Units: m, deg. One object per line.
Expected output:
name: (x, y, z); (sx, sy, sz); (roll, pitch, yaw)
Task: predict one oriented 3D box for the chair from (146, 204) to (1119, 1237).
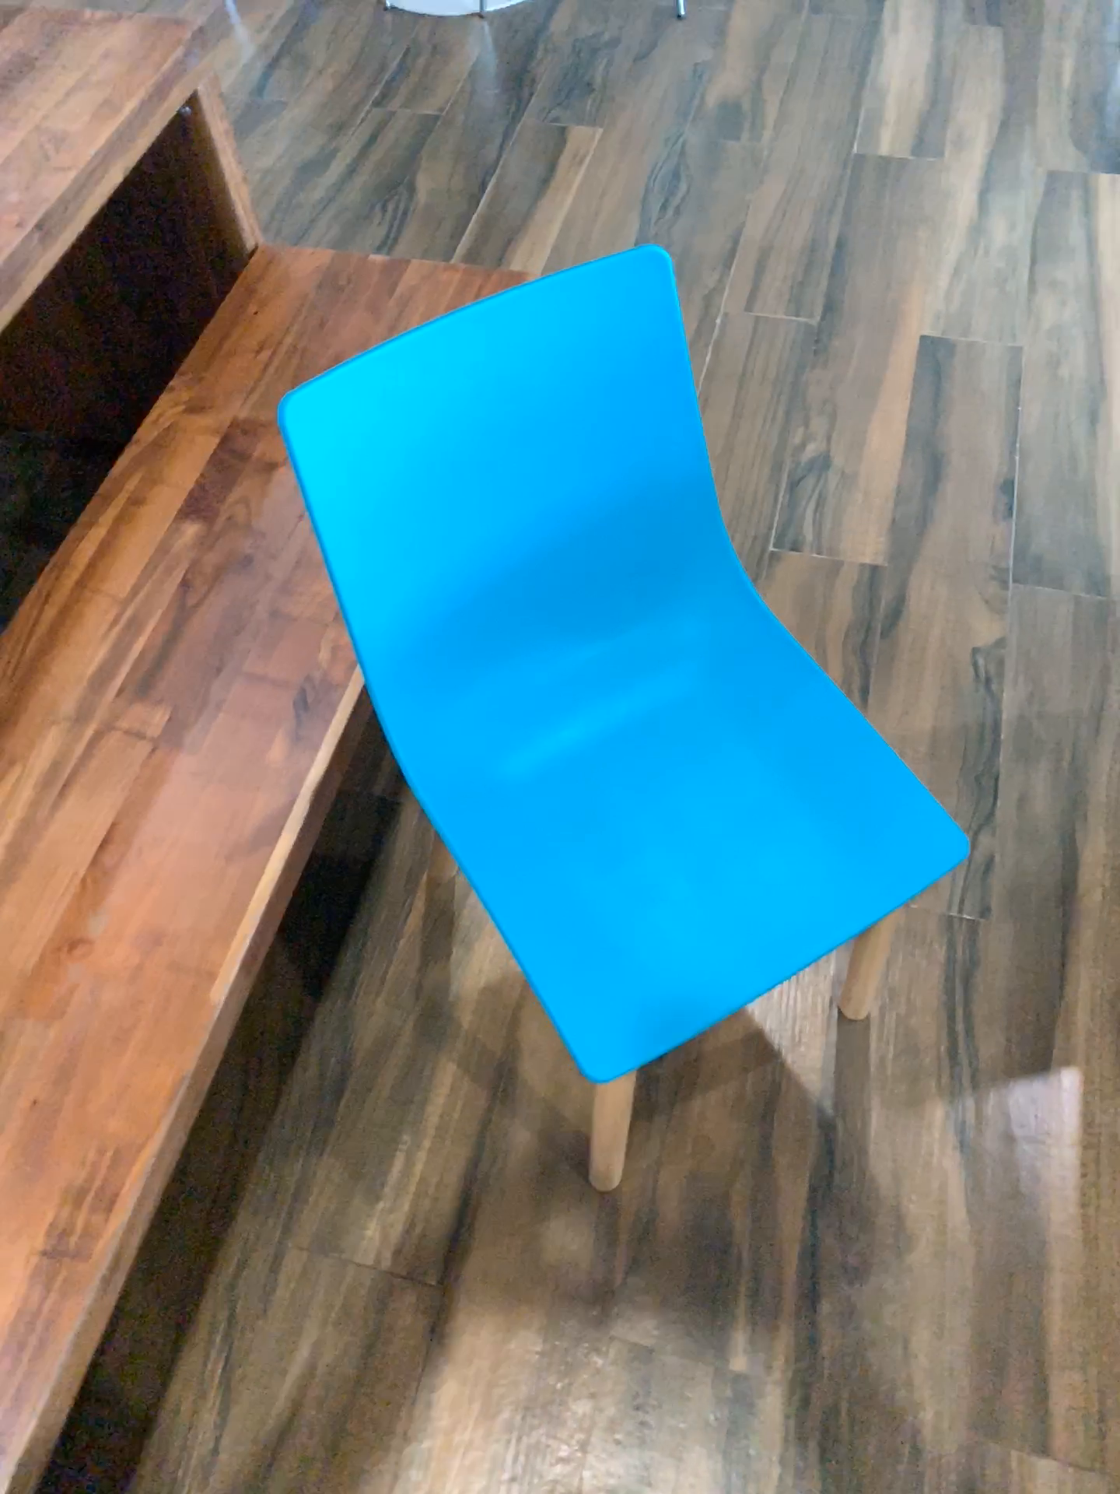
chair: (0.050, 0.005, 1.104); (0.511, 0.666, 0.583); (-28, 59, -14)
